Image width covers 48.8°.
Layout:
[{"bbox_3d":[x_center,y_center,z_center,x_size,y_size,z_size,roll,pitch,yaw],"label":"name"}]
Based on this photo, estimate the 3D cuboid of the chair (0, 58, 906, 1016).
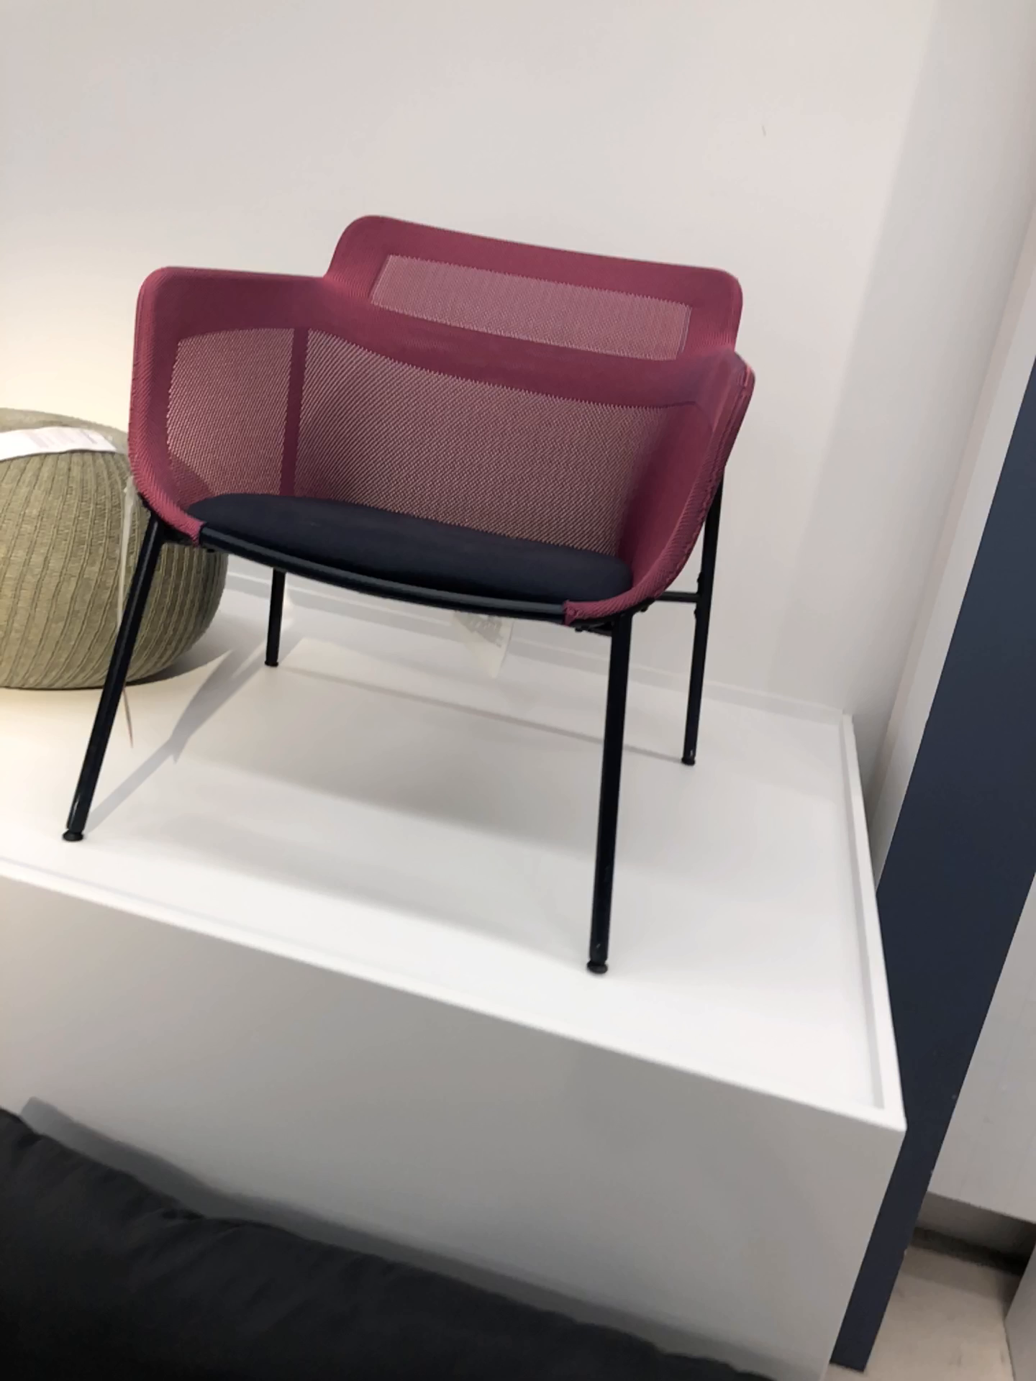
[{"bbox_3d":[-0.036,-0.265,1.525,0.780,0.747,1.014,13,19,8],"label":"chair"}]
